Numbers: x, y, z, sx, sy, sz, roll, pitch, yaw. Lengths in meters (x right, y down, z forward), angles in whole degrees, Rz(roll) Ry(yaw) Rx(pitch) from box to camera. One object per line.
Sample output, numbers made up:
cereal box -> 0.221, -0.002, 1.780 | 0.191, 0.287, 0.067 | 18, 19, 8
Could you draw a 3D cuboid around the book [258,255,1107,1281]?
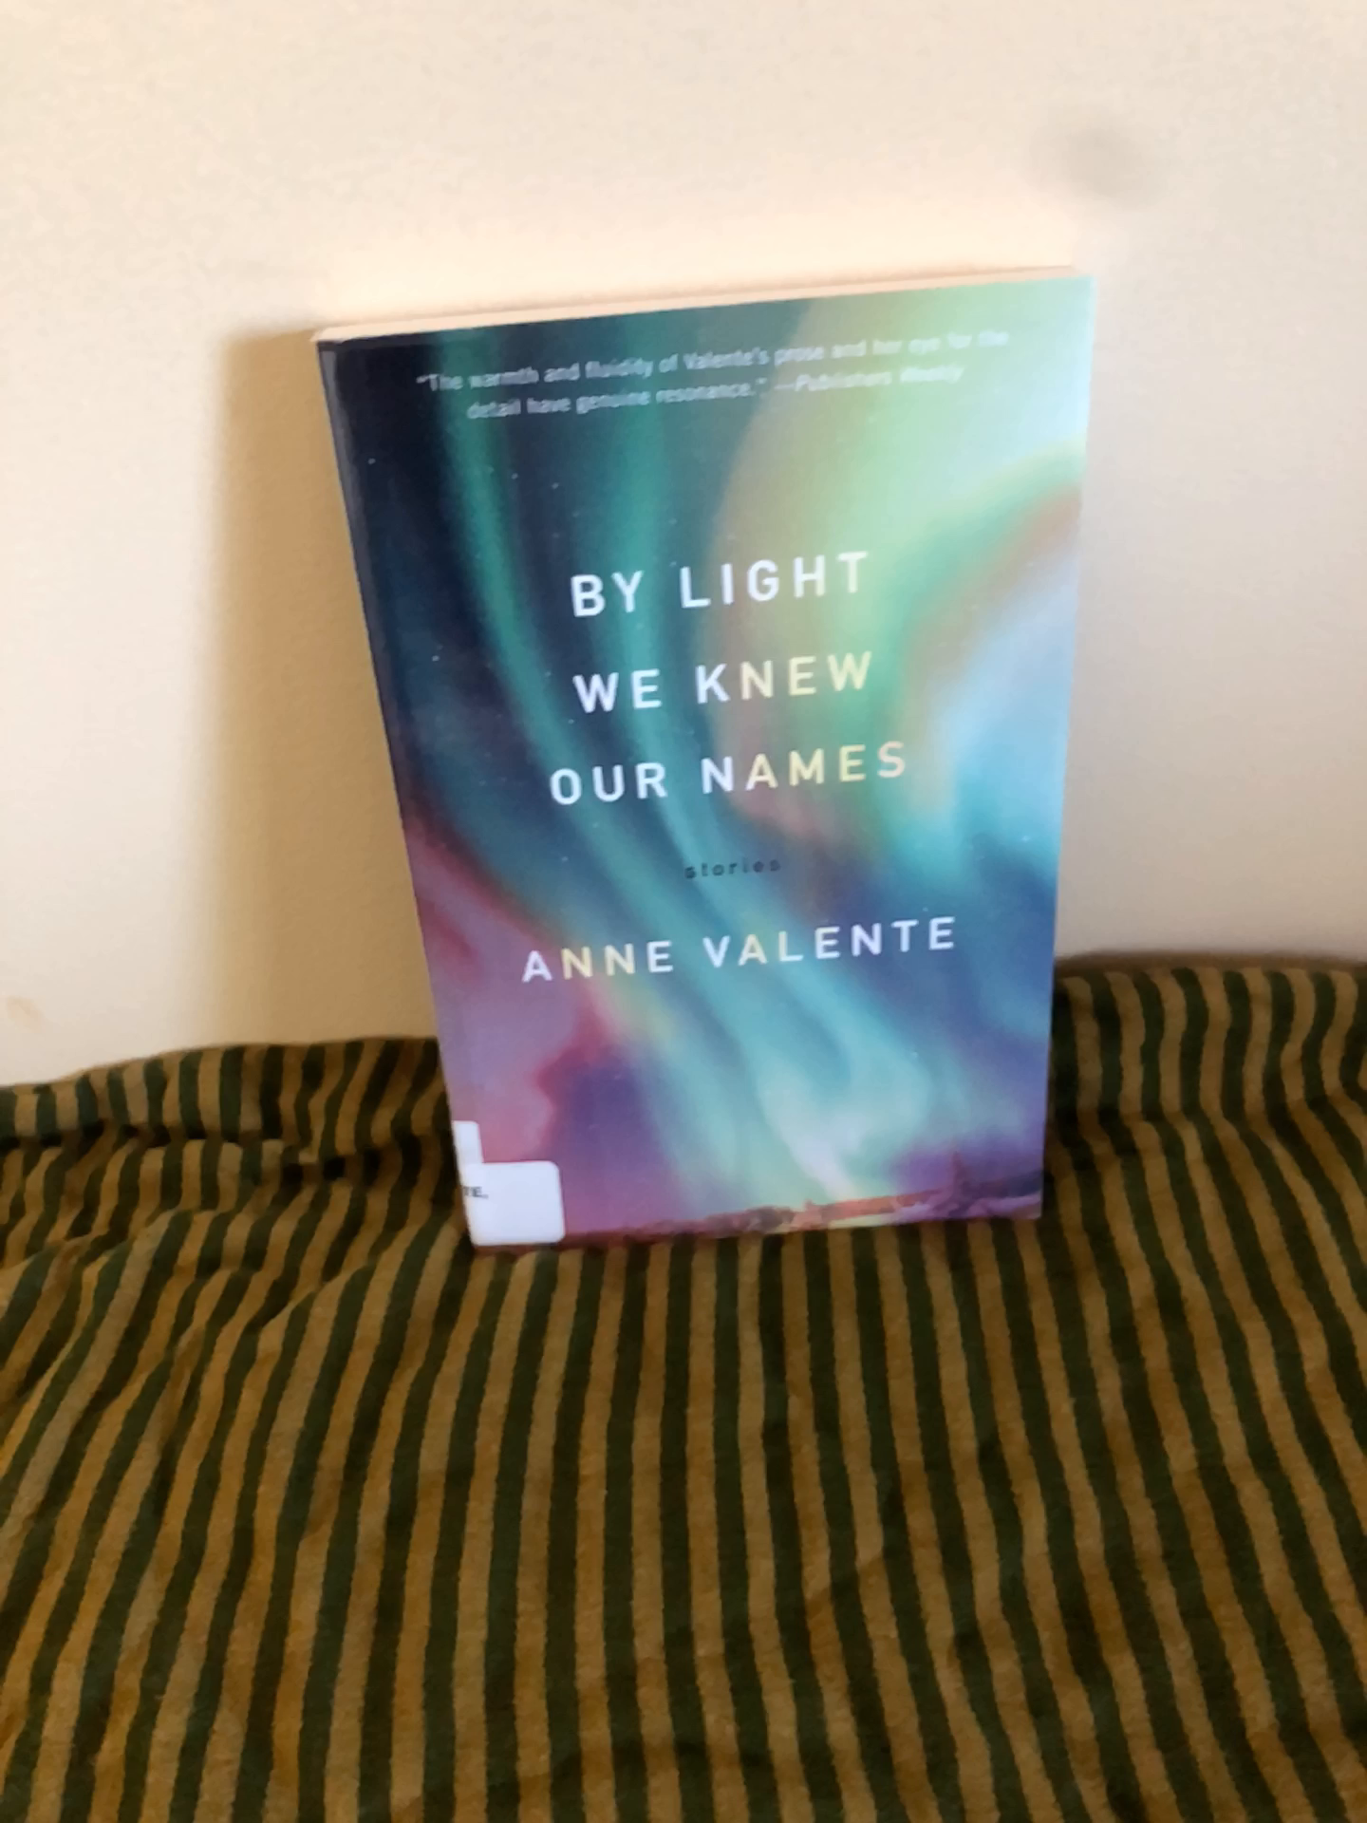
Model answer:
book -> 0.004, -0.014, 0.324 | 0.142, 0.223, 0.020 | -5, 34, -4
